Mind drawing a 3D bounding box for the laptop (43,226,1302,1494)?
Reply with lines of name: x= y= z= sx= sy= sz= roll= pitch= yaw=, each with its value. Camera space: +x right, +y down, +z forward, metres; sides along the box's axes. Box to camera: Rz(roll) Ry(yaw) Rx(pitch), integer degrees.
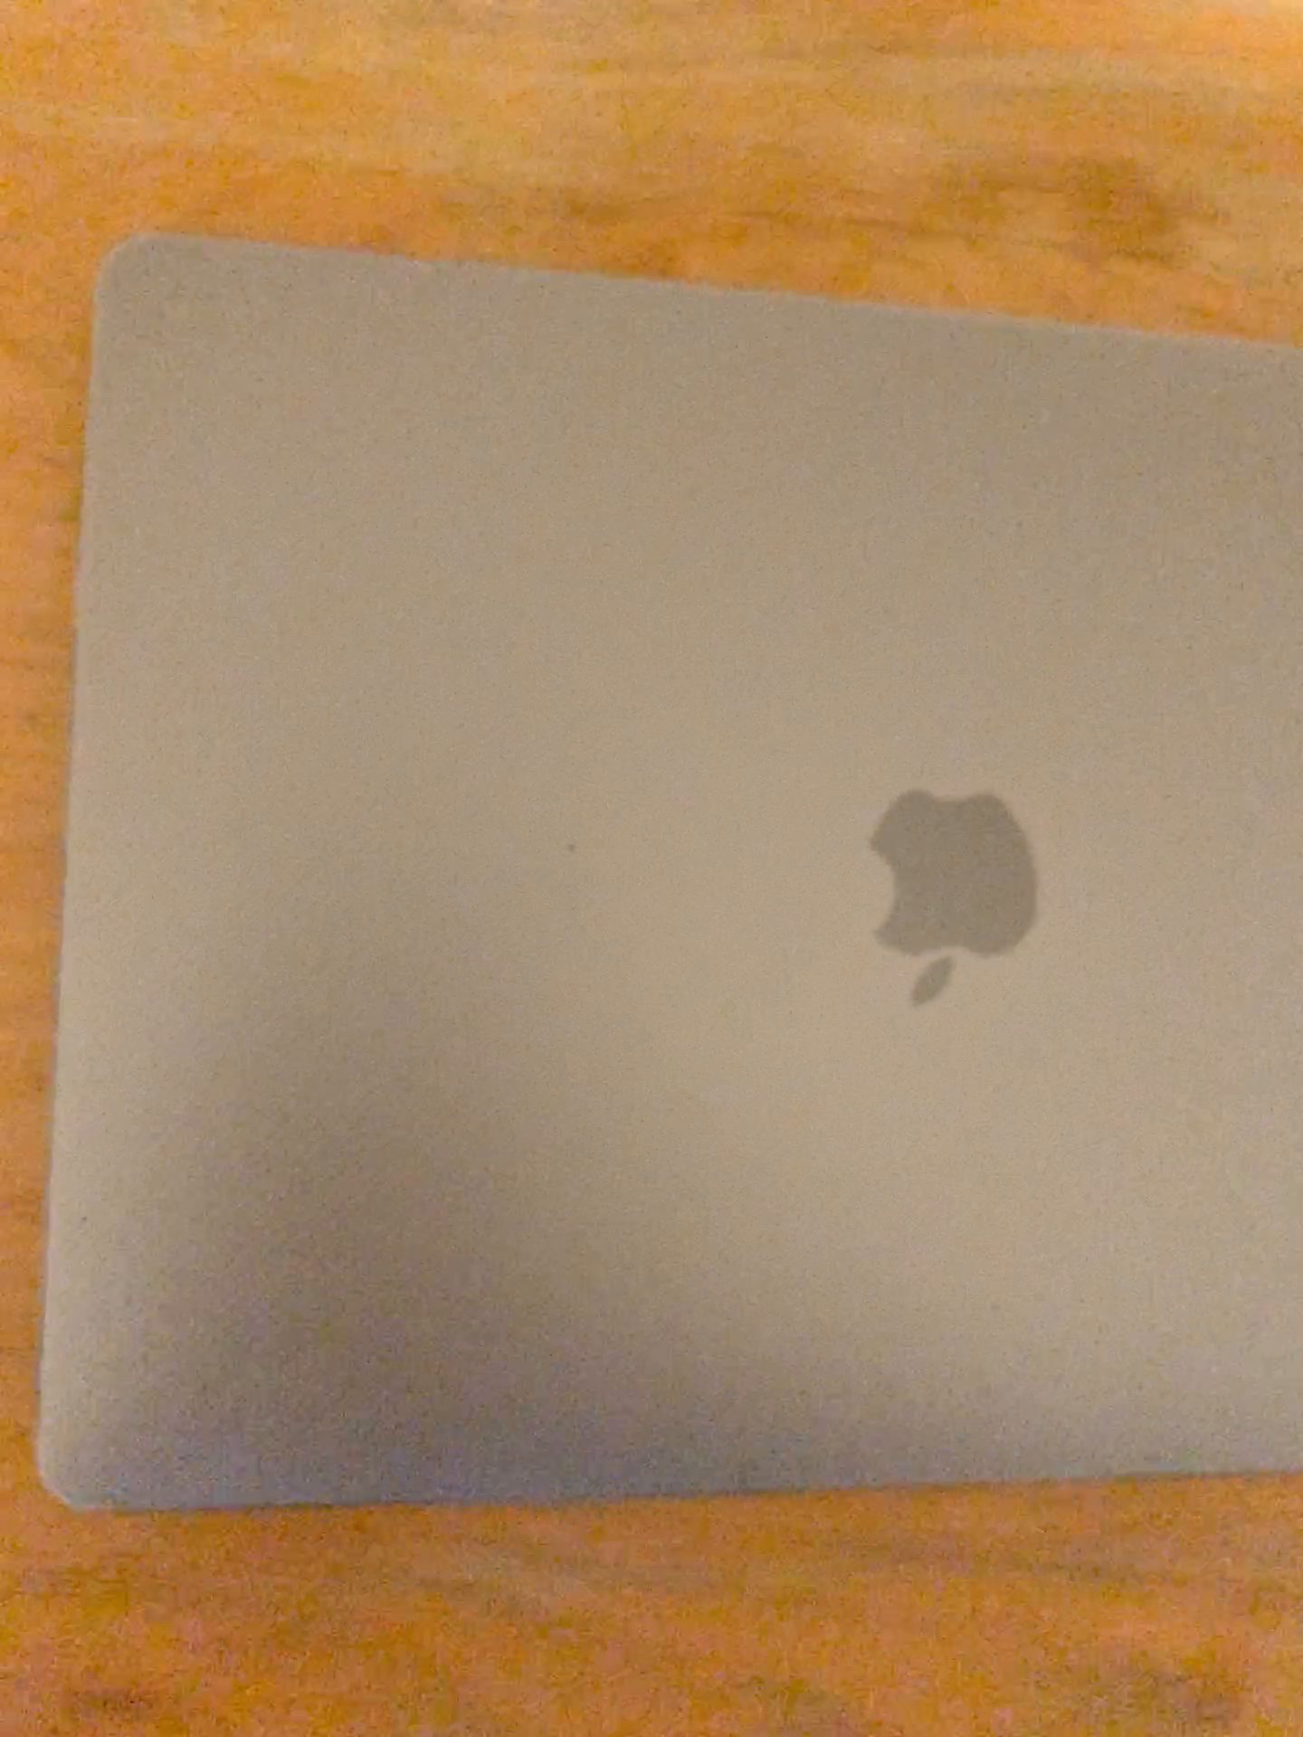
laptop: x=0.049 y=0.002 z=0.248 sx=0.292 sy=0.005 sz=0.210 roll=2 pitch=86 yaw=-7
